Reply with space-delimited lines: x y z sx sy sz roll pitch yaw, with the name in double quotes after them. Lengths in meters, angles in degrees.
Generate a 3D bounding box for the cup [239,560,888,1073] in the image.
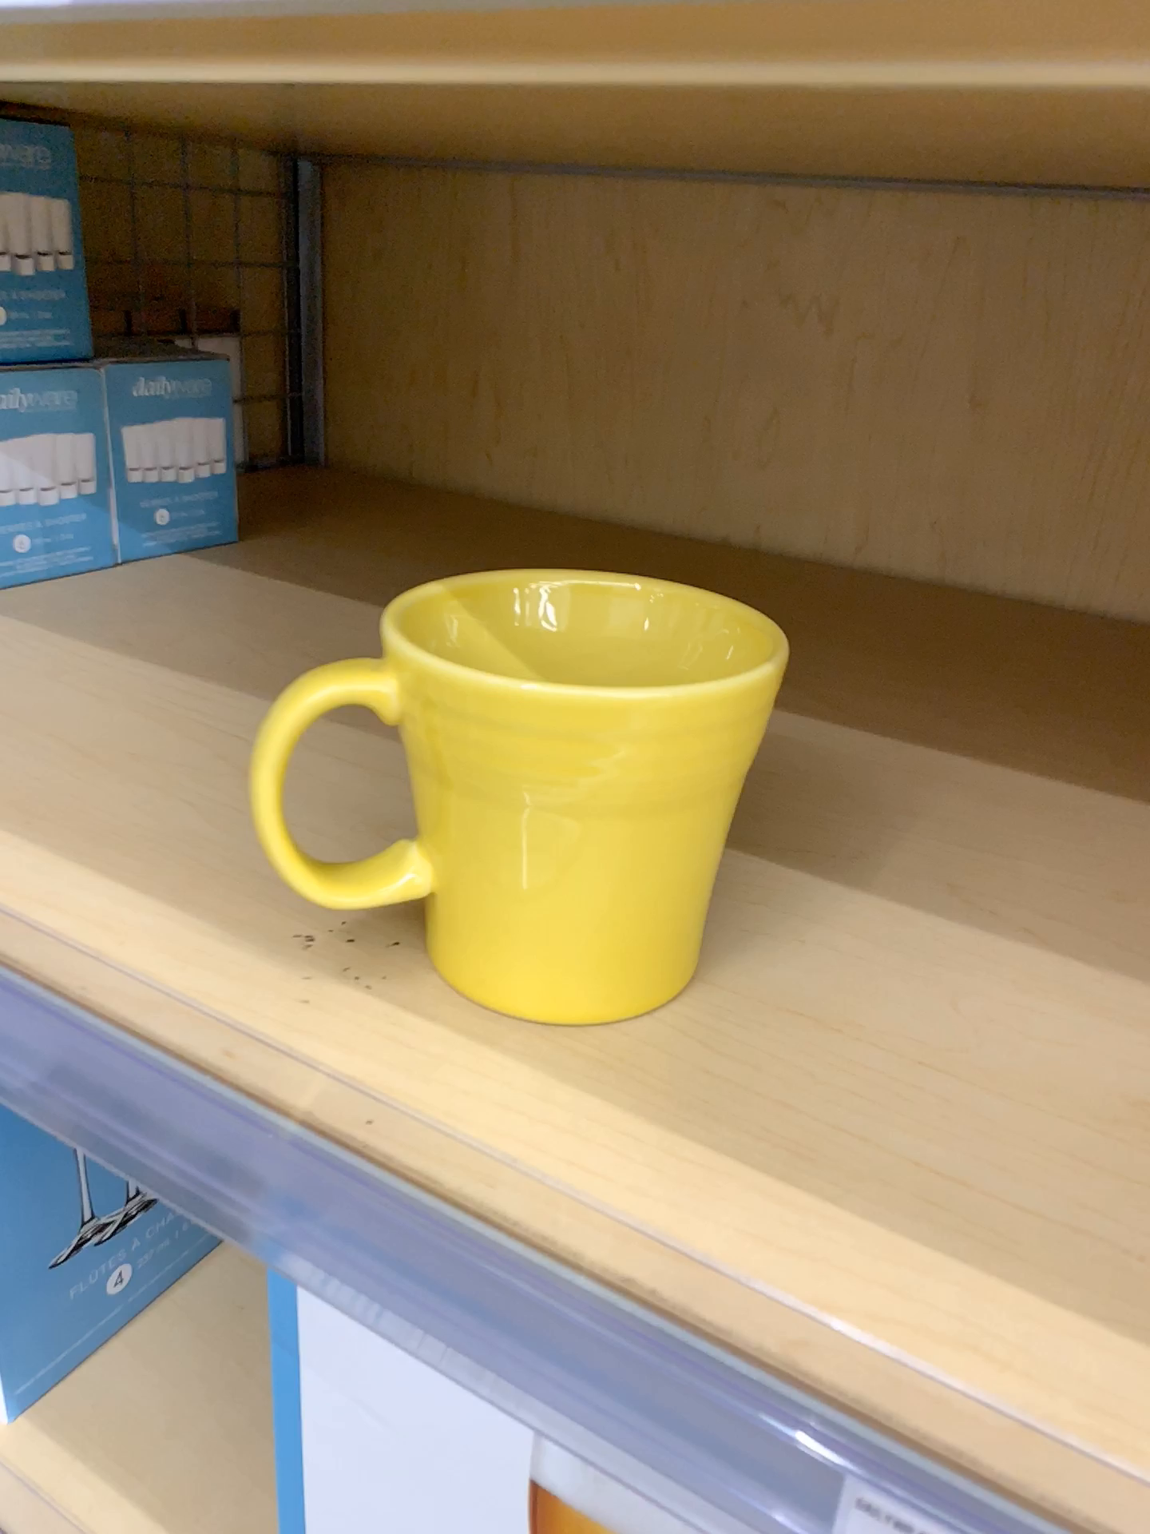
-0.011 0.002 0.318 0.139 0.088 0.104 -5 25 -21 "cup"
